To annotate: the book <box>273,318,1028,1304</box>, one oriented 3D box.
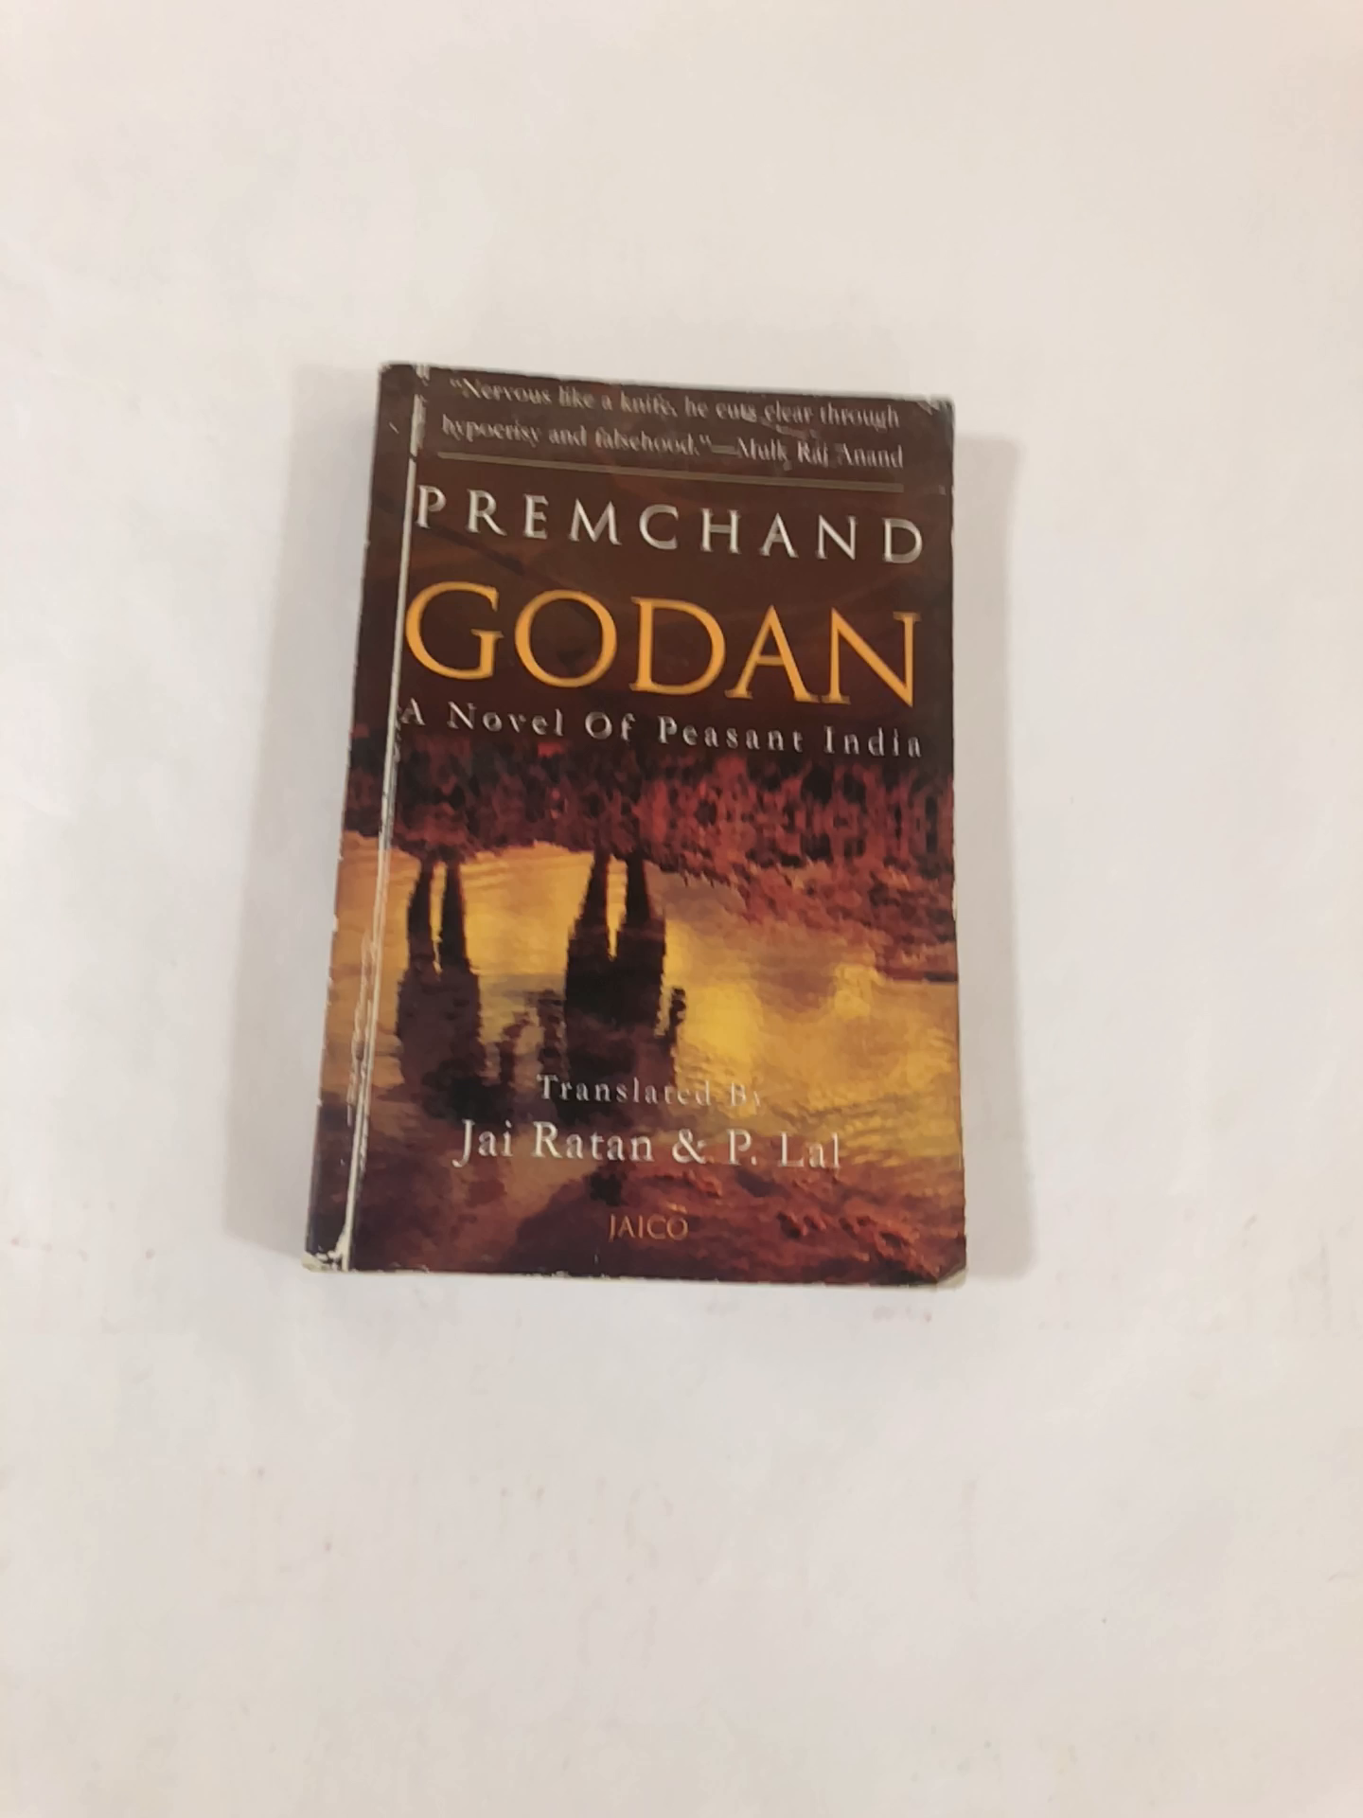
[{"bbox_3d":[0.000,-0.024,0.341,0.150,0.030,0.210,4,75,-5],"label":"book"}]
